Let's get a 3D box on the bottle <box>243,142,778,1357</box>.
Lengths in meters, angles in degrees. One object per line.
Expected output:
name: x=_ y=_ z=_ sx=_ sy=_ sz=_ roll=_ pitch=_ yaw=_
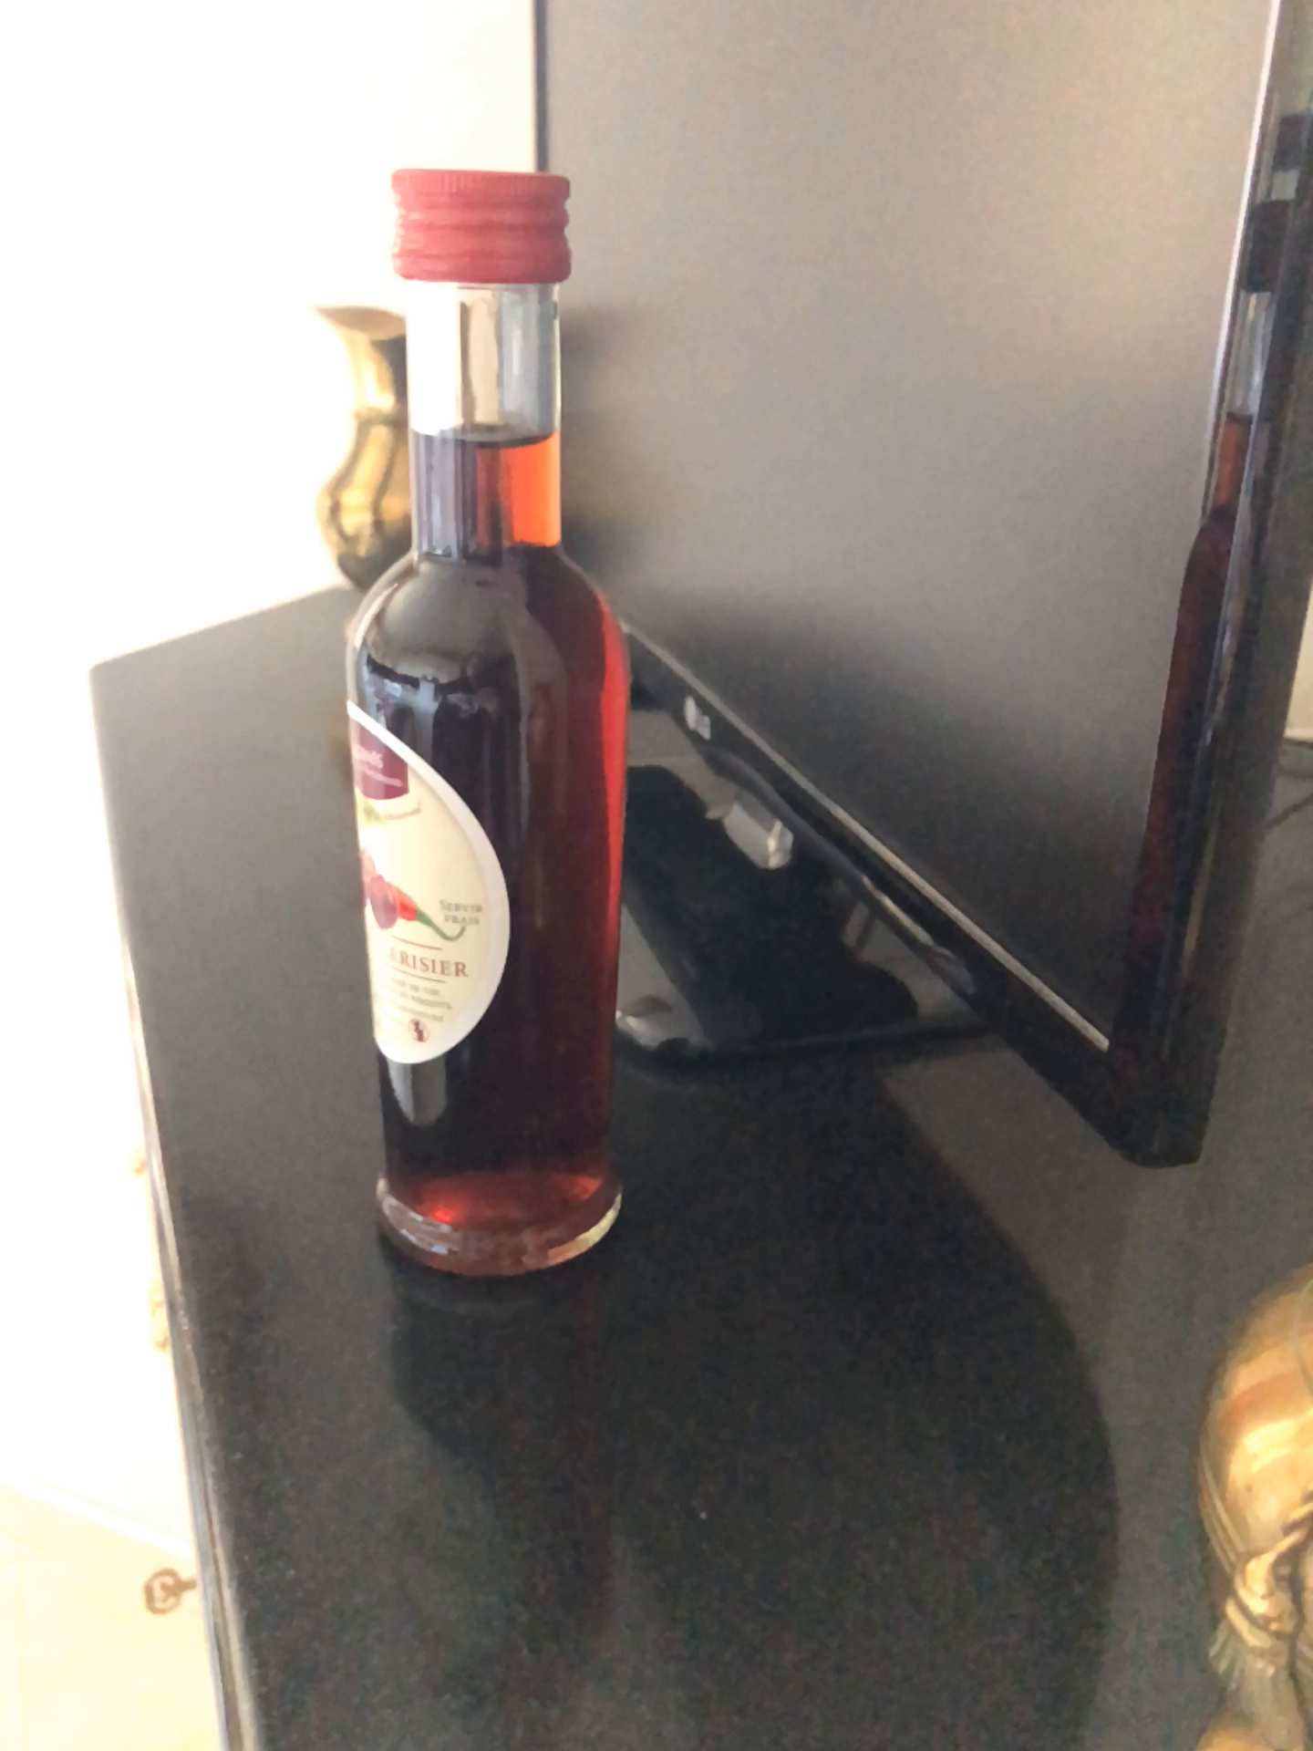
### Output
bottle: x=-0.030 y=-0.023 z=0.295 sx=0.070 sy=0.219 sz=0.070 roll=1 pitch=23 yaw=0
